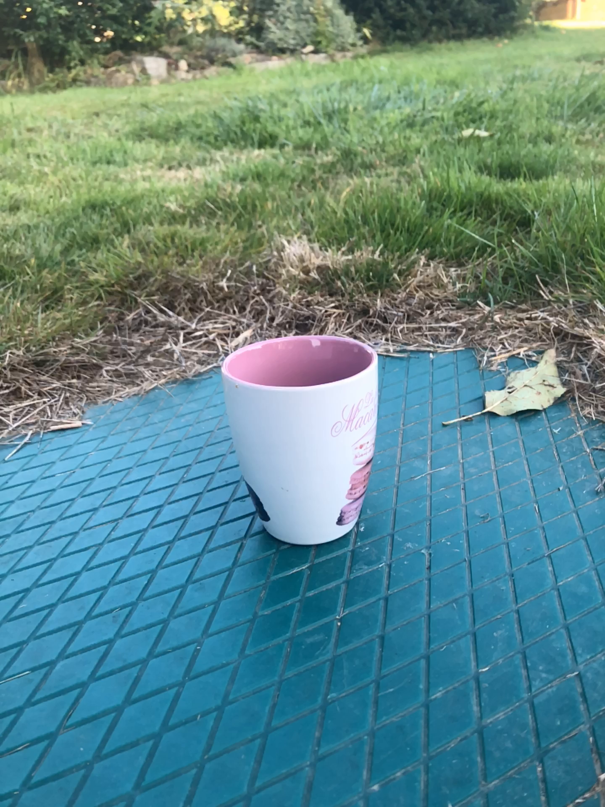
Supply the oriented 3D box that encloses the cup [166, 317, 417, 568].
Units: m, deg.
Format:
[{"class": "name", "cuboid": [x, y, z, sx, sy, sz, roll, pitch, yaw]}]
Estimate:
[{"class": "cup", "cuboid": [0.002, 0.014, 0.399, 0.095, 0.091, 0.121, 8, 28, 28]}]
